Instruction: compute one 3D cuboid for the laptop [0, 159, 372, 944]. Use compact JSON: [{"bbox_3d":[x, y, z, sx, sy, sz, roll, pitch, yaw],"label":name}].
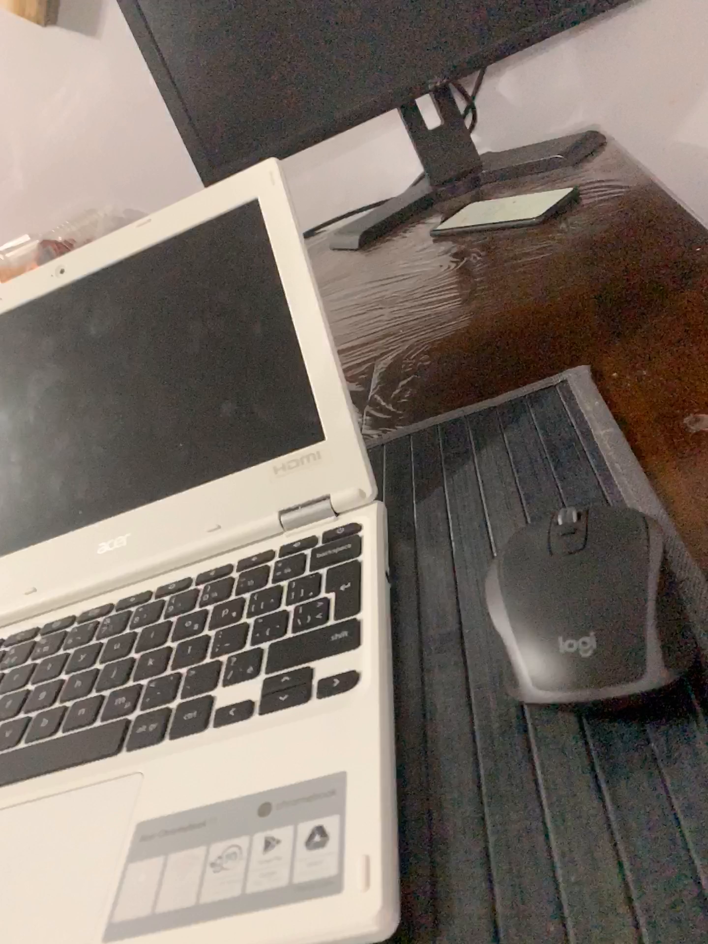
[{"bbox_3d":[-0.151,0.016,0.322,0.284,0.142,0.329,-19,29,13],"label":"laptop"}]
